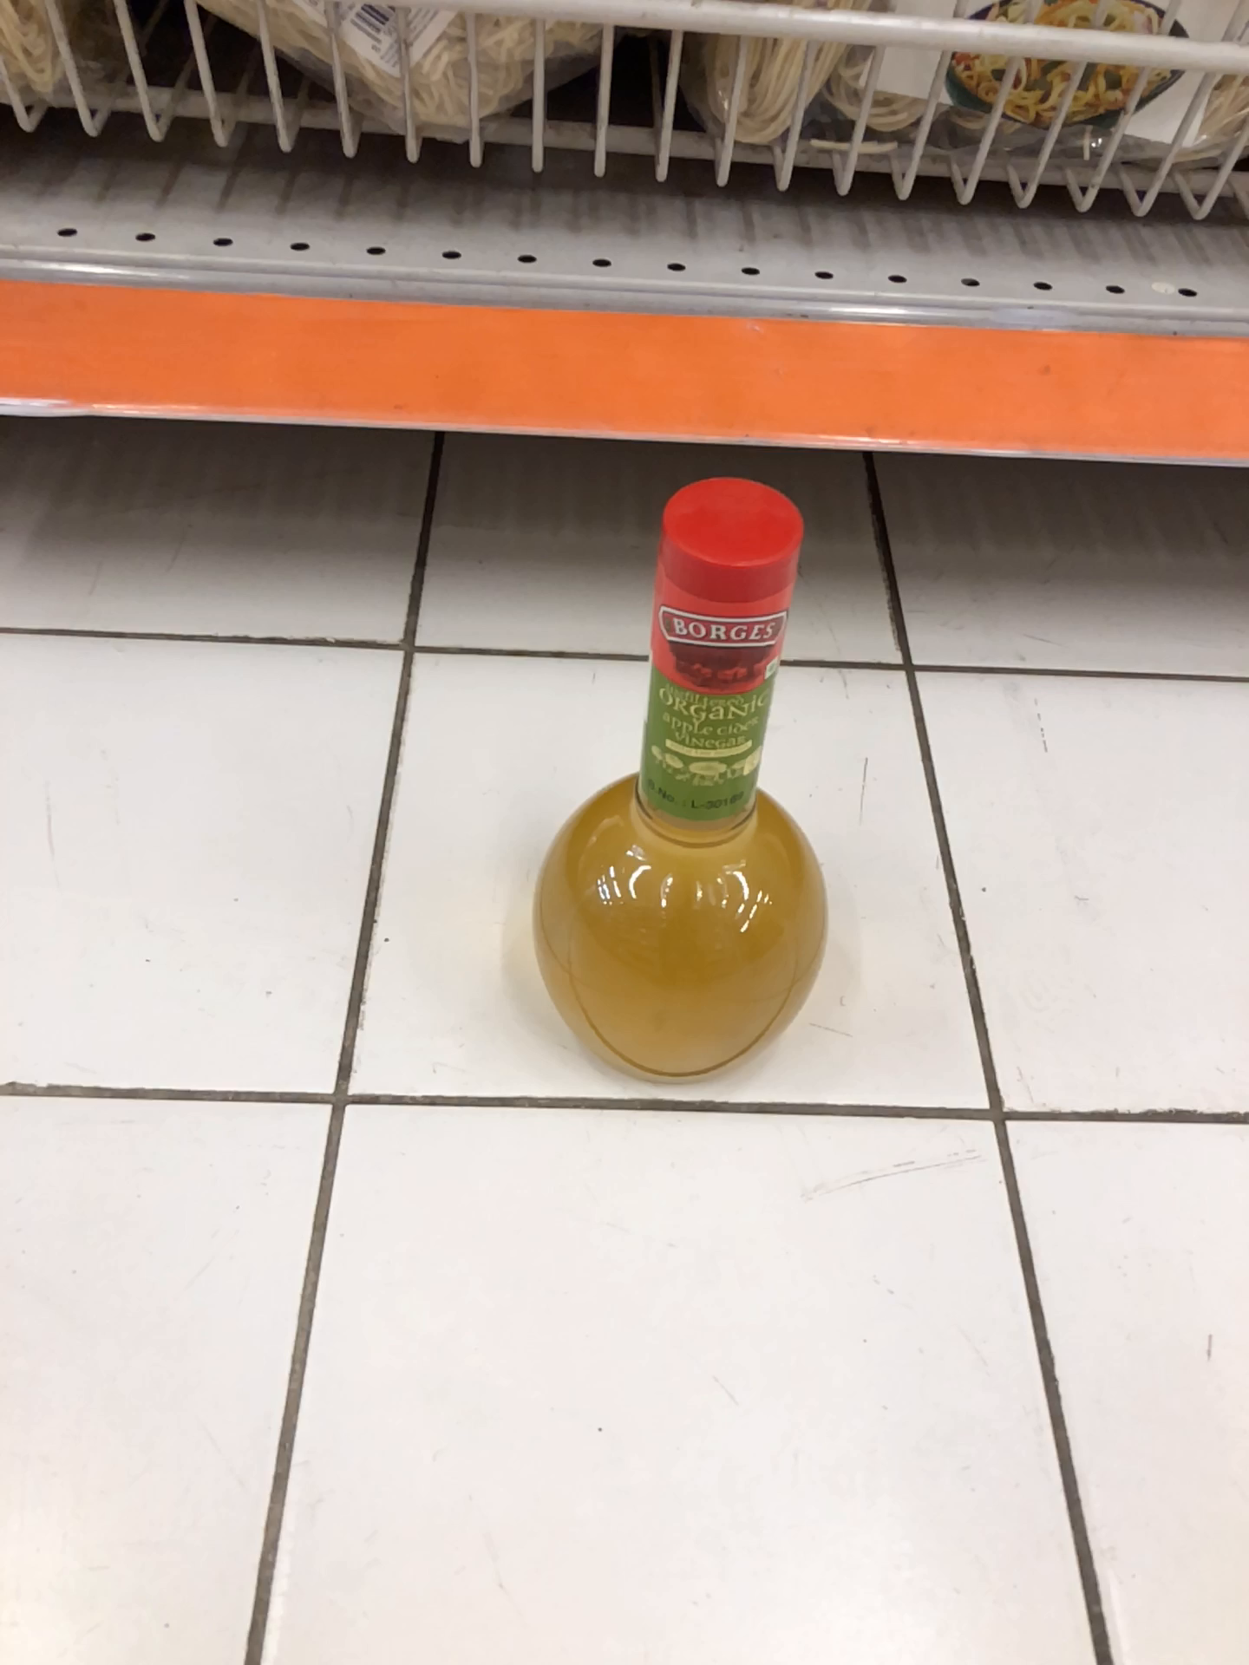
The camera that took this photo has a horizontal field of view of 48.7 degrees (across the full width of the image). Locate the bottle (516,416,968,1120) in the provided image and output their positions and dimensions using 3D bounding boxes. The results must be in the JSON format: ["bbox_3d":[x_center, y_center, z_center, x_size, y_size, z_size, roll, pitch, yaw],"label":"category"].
[{"bbox_3d":[0.022,-0.008,0.367,0.090,0.169,0.091,2,49,-2],"label":"bottle"}]
